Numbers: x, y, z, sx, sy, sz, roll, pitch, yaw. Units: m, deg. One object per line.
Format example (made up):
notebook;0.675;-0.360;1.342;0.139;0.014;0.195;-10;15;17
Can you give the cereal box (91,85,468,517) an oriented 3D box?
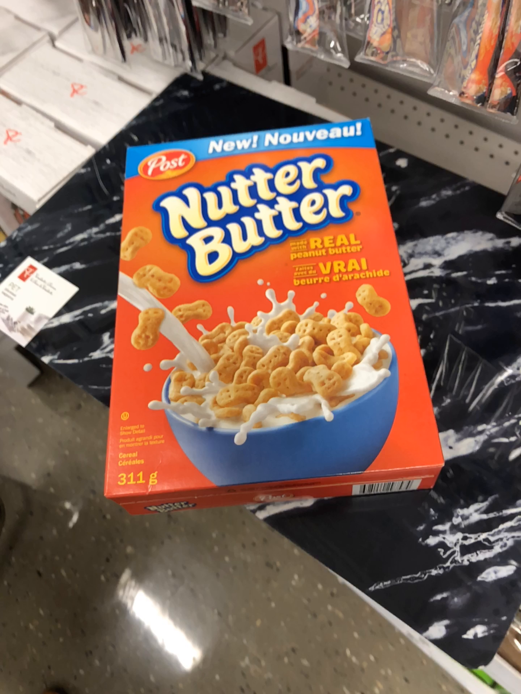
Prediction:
cereal box;0.001;-0.046;0.413;0.210;0.050;0.301;-6;63;5
